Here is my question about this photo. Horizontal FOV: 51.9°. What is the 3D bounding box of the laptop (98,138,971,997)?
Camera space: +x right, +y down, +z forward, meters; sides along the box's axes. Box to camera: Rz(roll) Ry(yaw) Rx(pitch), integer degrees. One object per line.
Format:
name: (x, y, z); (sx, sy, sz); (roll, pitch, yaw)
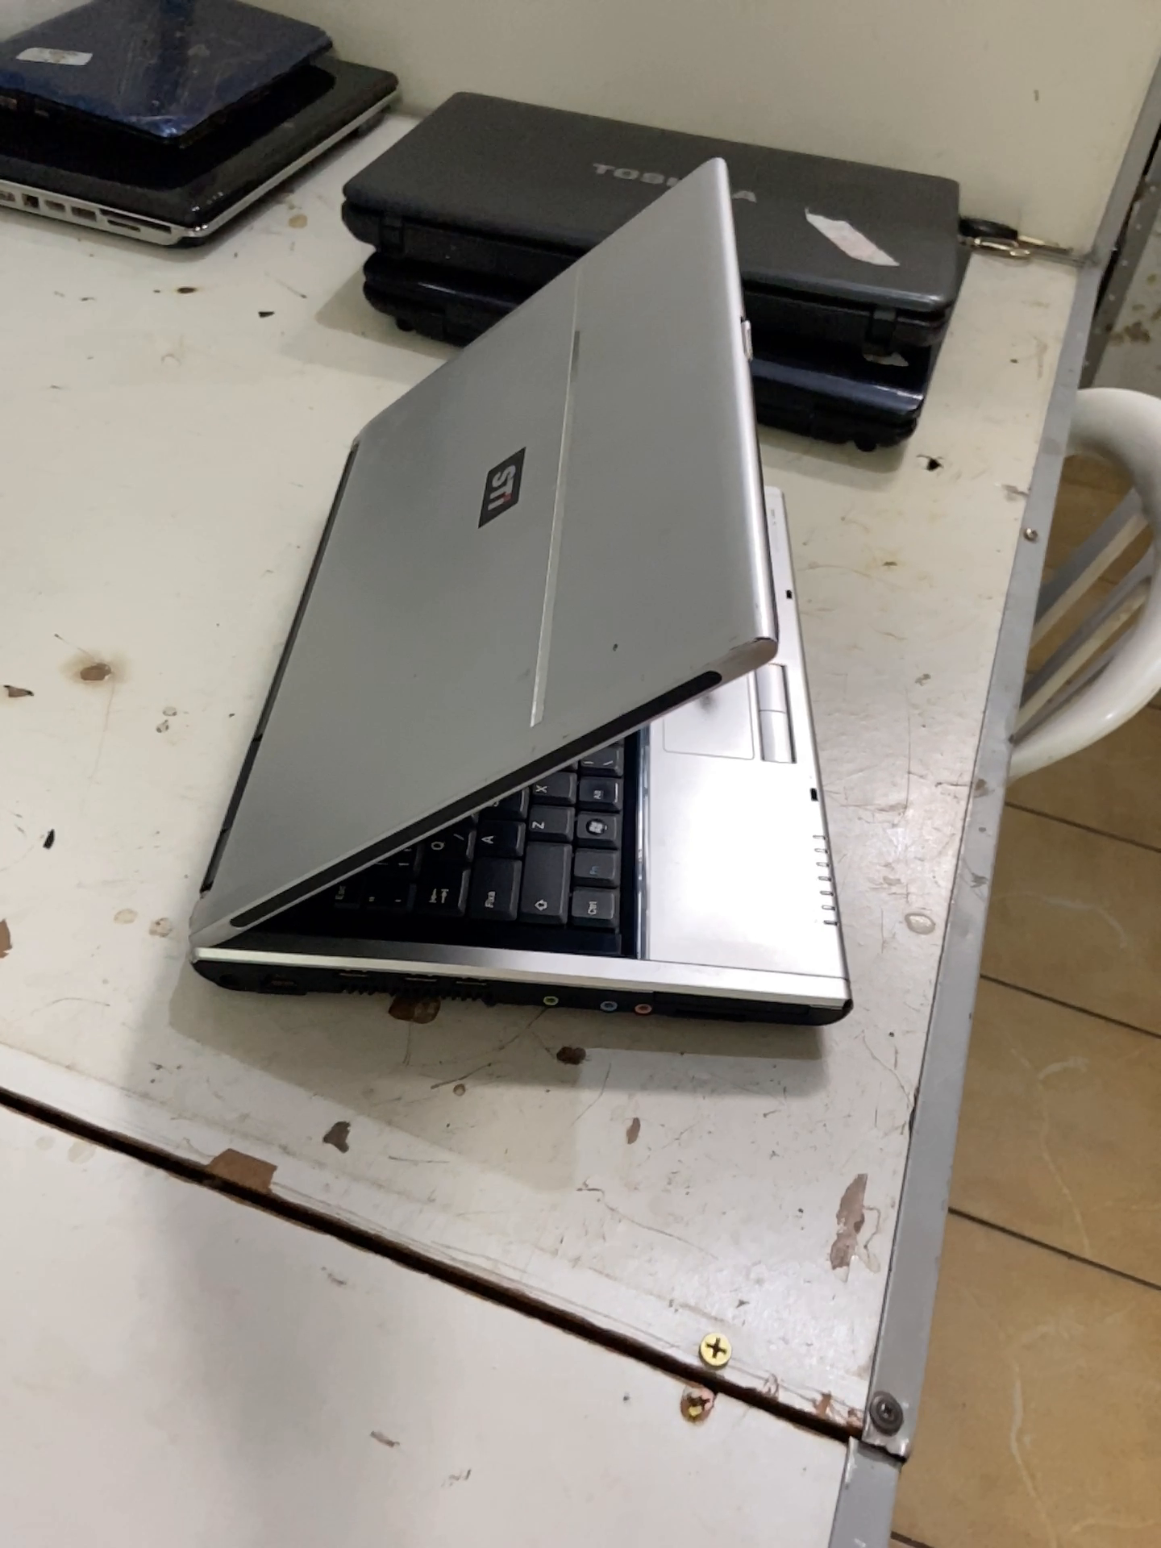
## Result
laptop: (-0.009, -0.104, 0.485); (0.227, 0.164, 0.332); (5, 45, -1)
